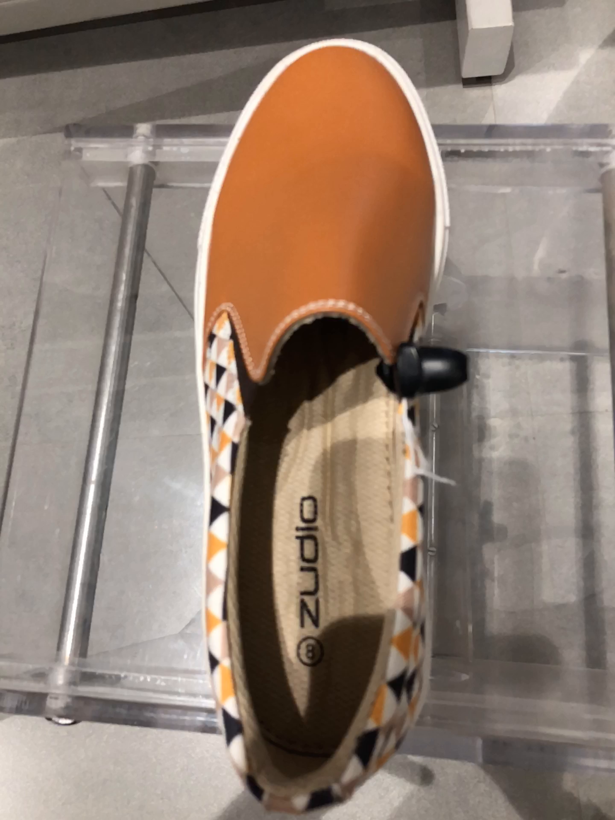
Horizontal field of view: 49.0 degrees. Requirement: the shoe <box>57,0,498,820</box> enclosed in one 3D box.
[{"bbox_3d":[0.002,-0.015,0.251,0.110,0.100,0.290,1,75,6],"label":"shoe"}]
